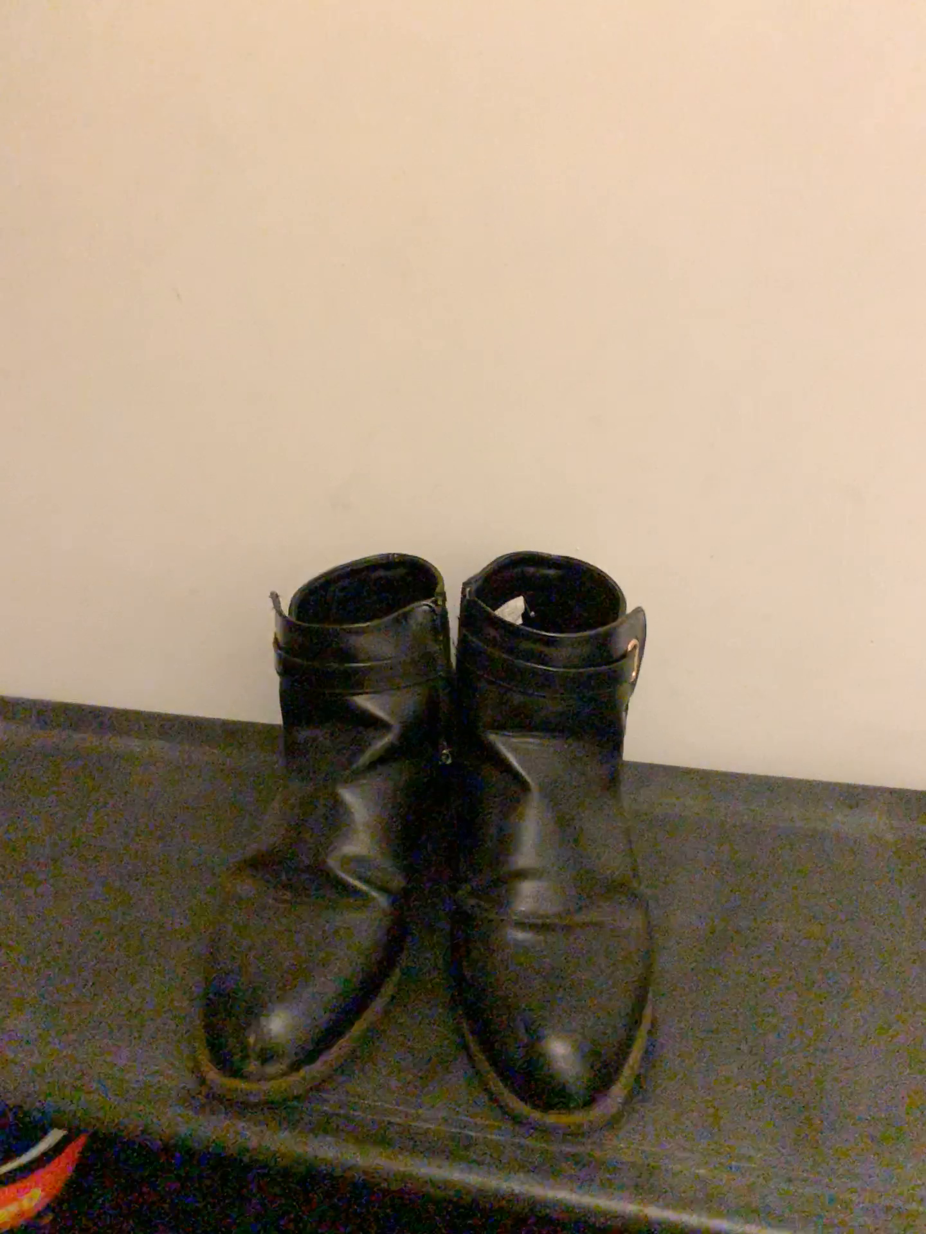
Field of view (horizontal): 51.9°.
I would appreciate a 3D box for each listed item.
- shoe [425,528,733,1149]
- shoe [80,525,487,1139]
[{"bbox_3d":[0.045,0.081,0.454,0.100,0.169,0.242,2,25,4],"label":"shoe"},{"bbox_3d":[-0.059,0.078,0.447,0.100,0.169,0.222,5,26,10],"label":"shoe"}]
